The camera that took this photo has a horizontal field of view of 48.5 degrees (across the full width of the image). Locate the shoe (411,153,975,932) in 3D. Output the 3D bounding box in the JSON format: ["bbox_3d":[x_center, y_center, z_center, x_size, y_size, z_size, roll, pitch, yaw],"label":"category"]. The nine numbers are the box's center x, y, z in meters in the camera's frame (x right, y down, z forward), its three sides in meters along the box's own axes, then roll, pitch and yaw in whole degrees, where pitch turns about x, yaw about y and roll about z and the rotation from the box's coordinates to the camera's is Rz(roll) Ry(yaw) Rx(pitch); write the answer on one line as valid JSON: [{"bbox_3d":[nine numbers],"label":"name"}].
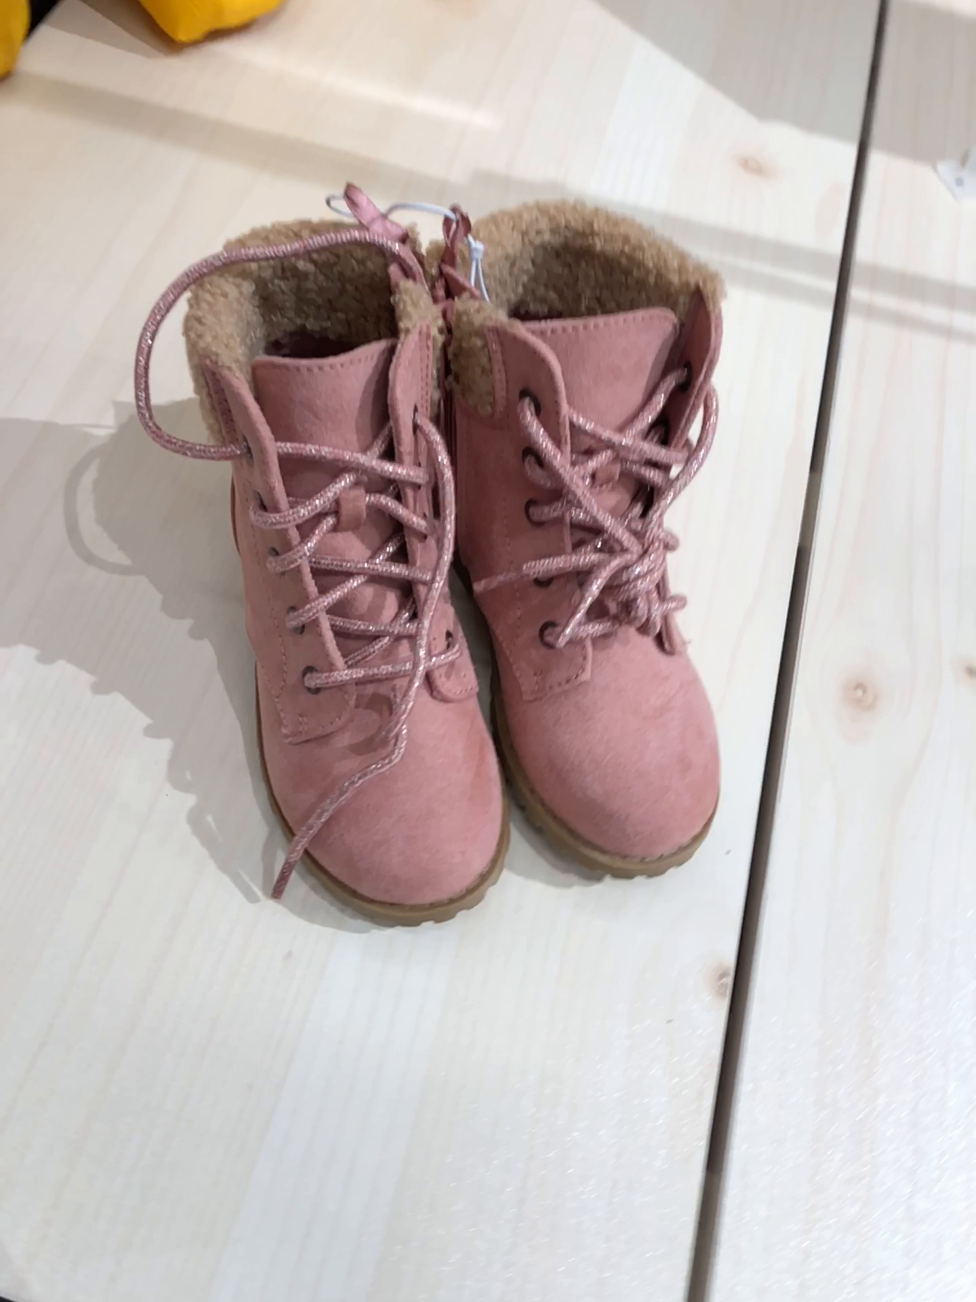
[{"bbox_3d":[0.038,-0.027,0.294,0.080,0.120,0.160,-11,63,-12],"label":"shoe"}]

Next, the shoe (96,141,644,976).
[{"bbox_3d":[-0.037,-0.020,0.274,0.080,0.120,0.160,-11,63,-12],"label":"shoe"}]
